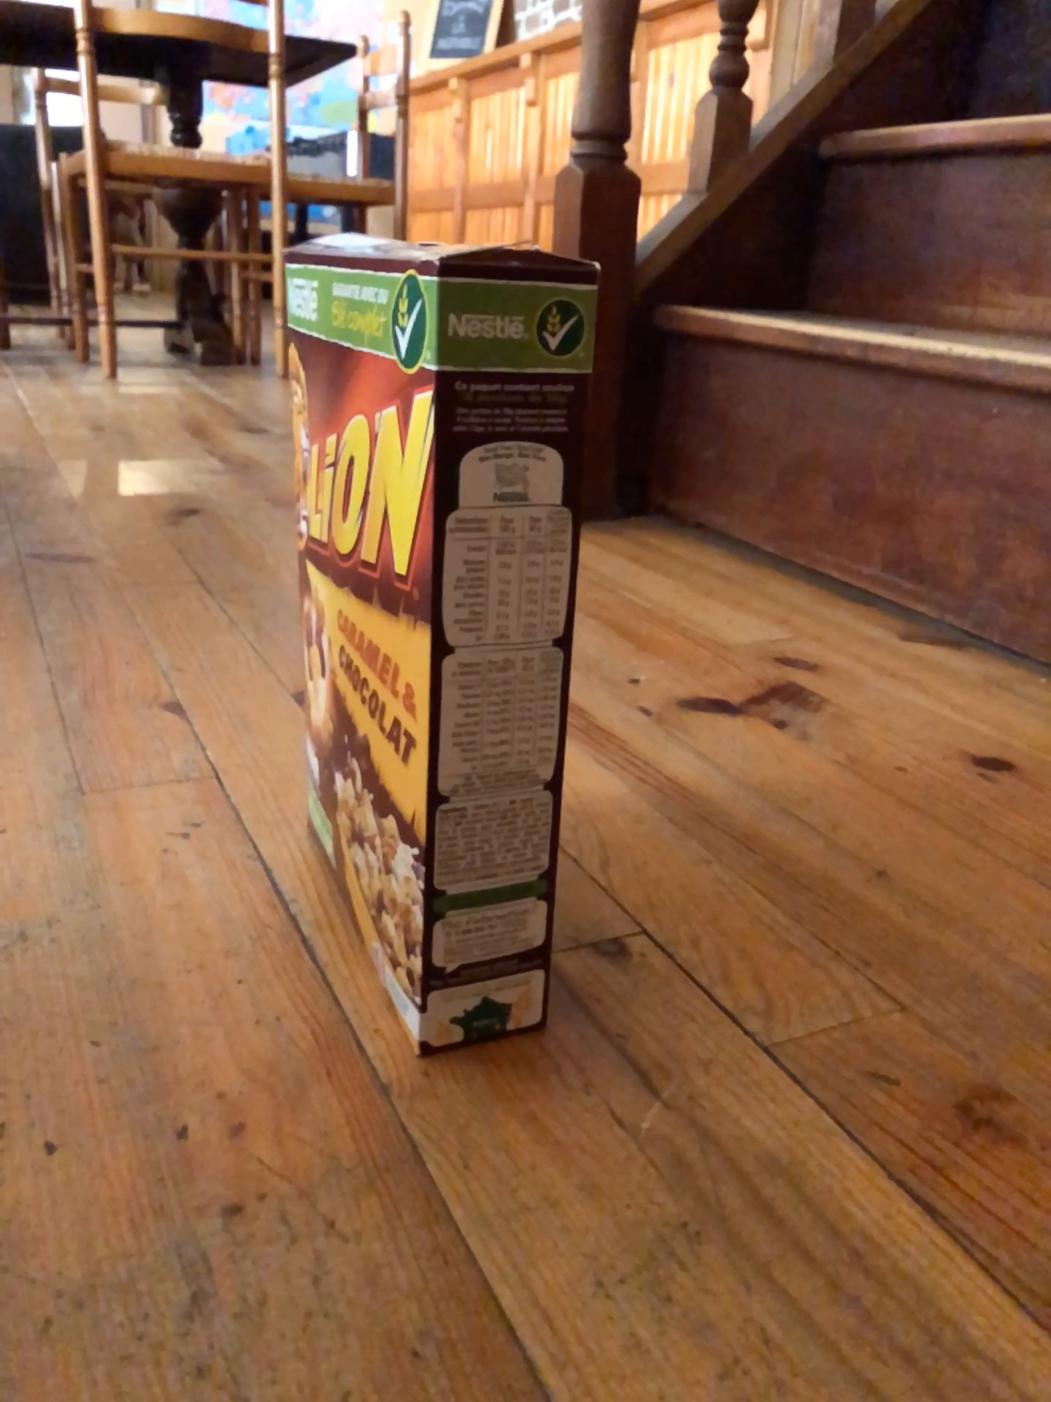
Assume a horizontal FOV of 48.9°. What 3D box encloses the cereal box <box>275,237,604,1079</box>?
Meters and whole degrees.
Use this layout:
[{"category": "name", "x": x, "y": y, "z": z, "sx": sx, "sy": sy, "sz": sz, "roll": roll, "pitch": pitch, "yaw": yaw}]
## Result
[{"category": "cereal box", "x": -0.050, "y": -0.033, "z": 0.463, "sx": 0.060, "sy": 0.279, "sz": 0.200, "roll": -4, "pitch": 21, "yaw": -22}]
